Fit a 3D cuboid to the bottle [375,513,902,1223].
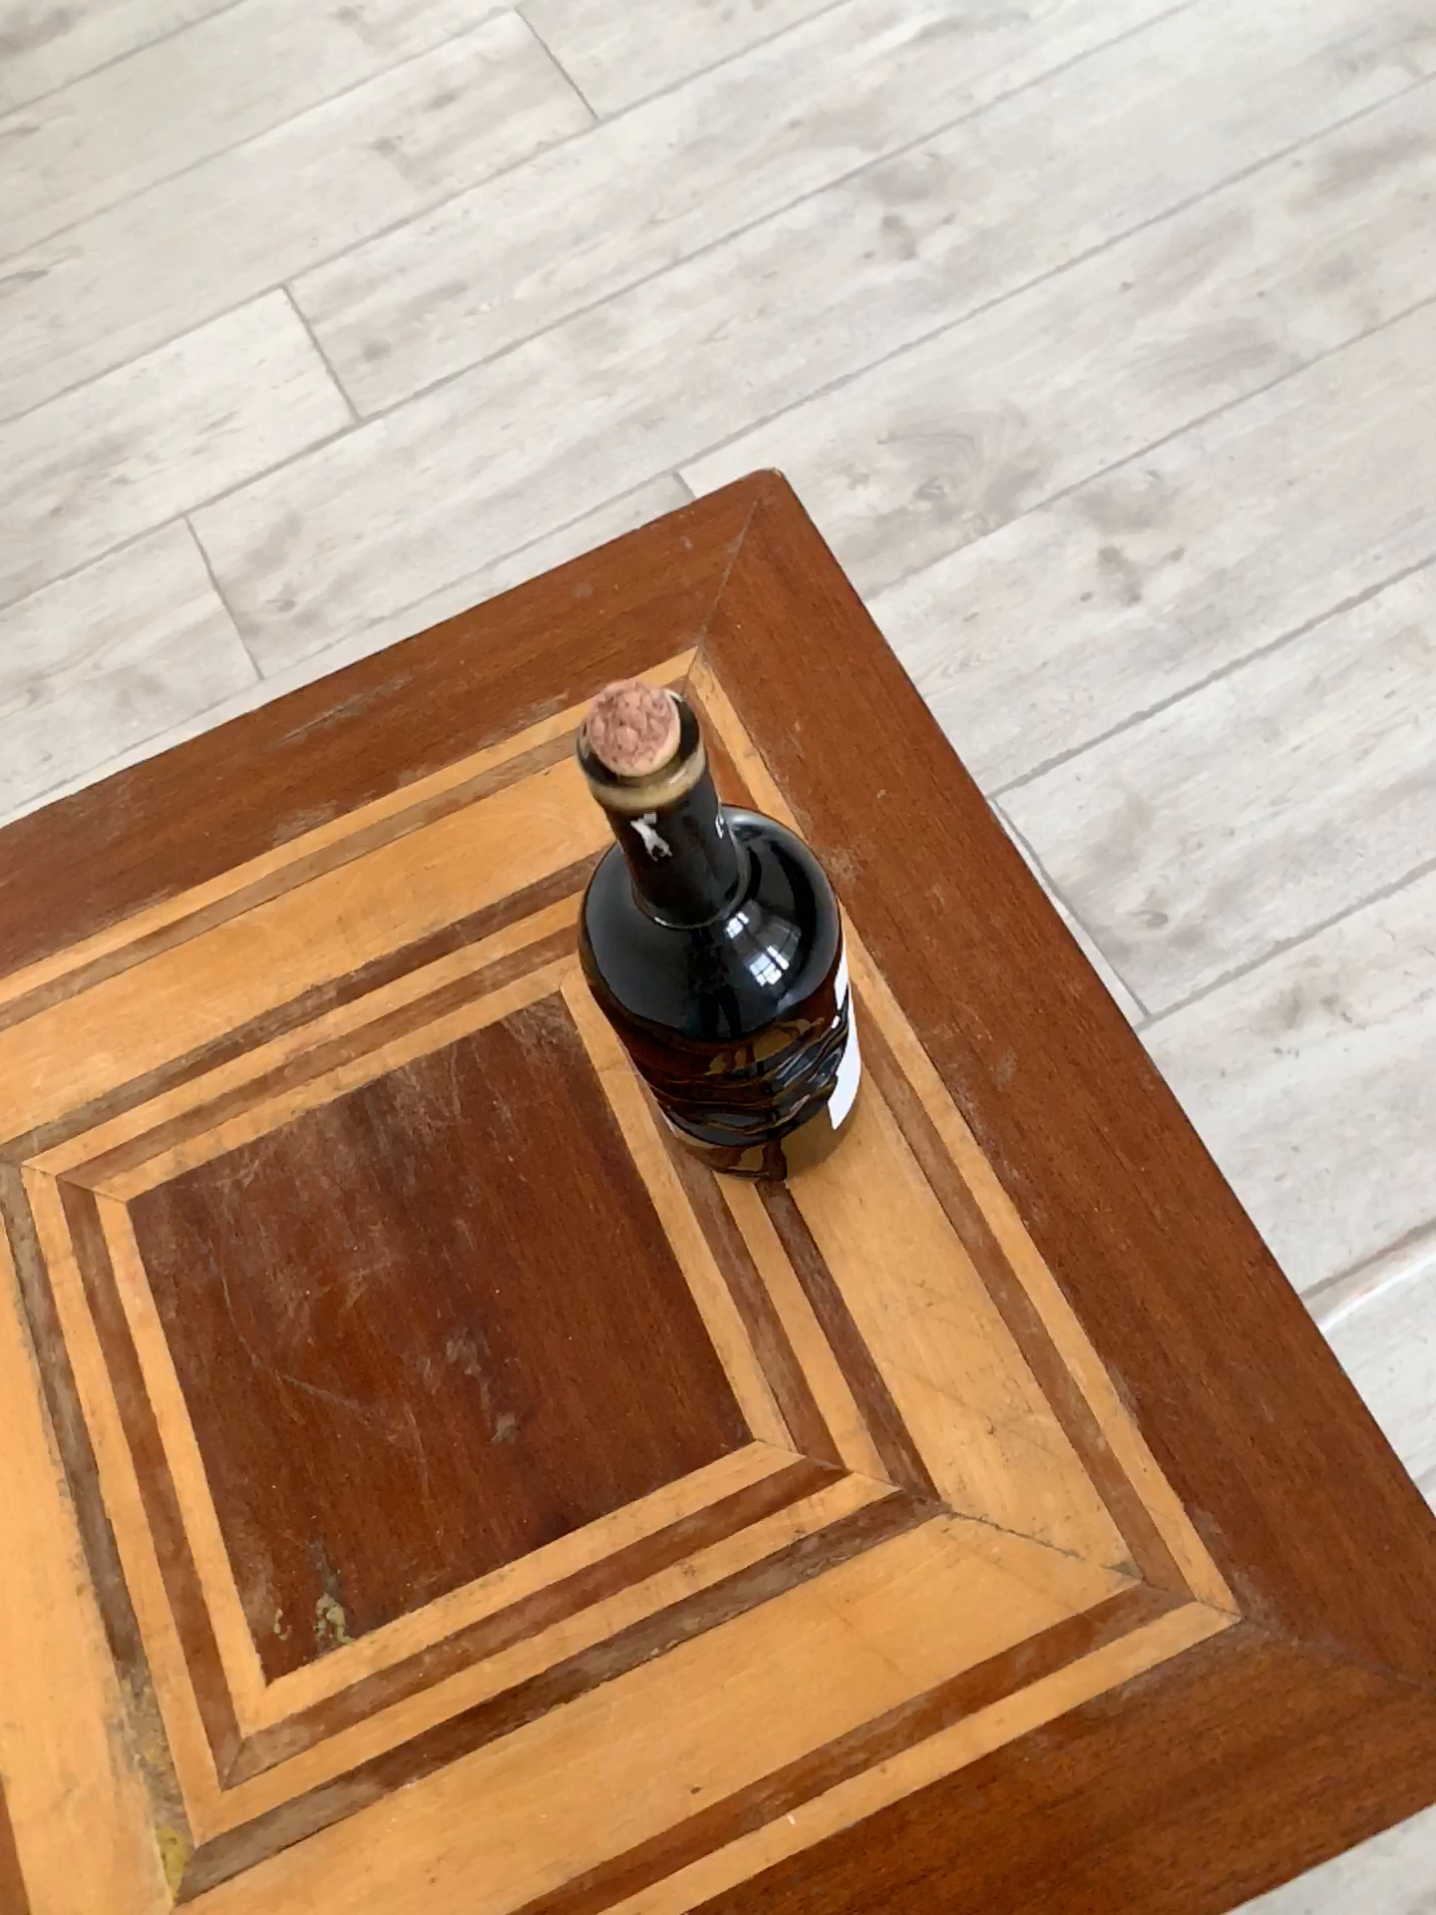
[{"bbox_3d":[-0.006,-0.003,0.462,0.090,0.270,0.090,-3,68,8],"label":"bottle"}]
